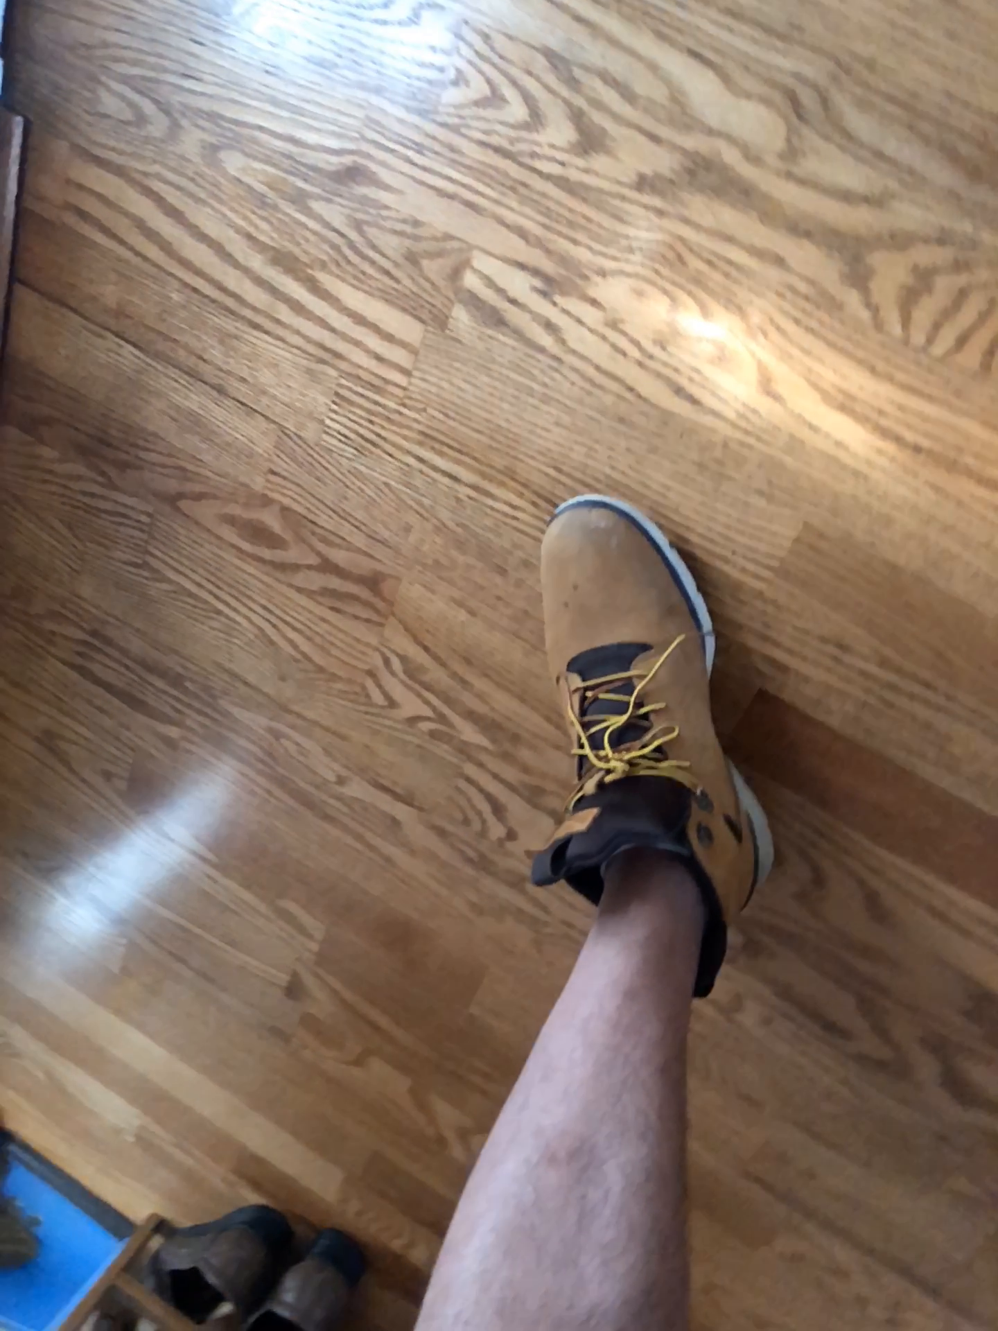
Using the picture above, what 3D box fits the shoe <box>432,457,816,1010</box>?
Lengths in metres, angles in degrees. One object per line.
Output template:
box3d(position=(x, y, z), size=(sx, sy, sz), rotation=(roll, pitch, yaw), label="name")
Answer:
box3d(position=(0.088, 0.037, 0.697), size=(0.120, 0.150, 0.310), rotation=(-14, 93, 29), label="shoe")
